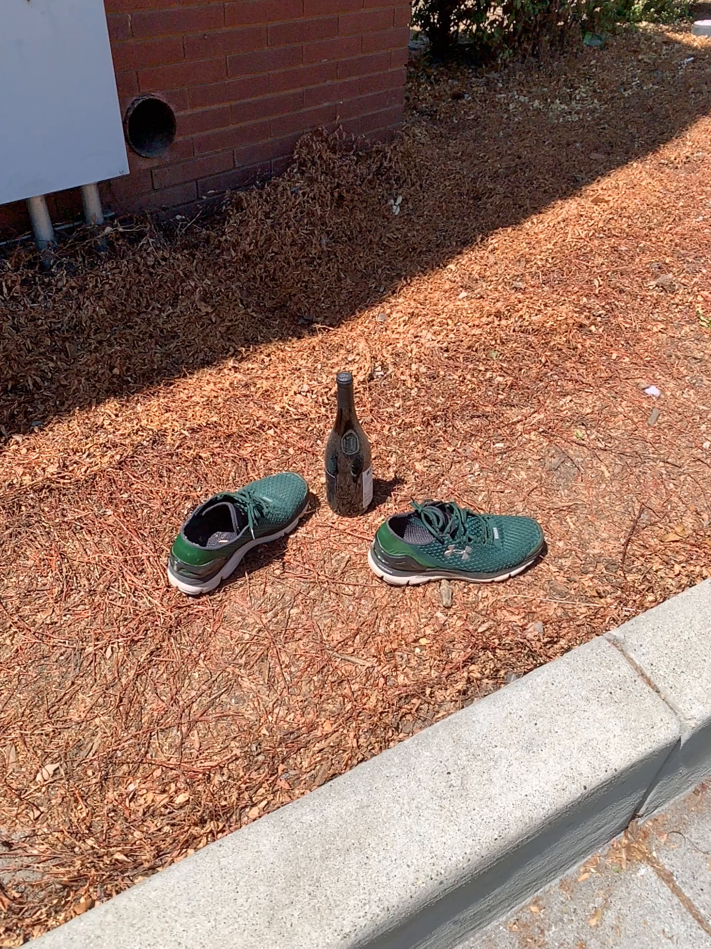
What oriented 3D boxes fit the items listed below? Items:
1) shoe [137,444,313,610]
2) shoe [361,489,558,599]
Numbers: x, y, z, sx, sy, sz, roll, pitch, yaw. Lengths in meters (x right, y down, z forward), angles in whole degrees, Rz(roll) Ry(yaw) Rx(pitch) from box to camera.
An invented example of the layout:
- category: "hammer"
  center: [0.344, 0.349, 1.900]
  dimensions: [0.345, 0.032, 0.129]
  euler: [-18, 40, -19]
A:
- category: "shoe"
  center: [-0.213, 0.081, 1.247]
  dimensions: [0.120, 0.099, 0.291]
  euler: [28, 47, 26]
- category: "shoe"
  center: [0.164, 0.113, 1.200]
  dimensions: [0.290, 0.099, 0.121]
  euler: [-4, 42, -9]
